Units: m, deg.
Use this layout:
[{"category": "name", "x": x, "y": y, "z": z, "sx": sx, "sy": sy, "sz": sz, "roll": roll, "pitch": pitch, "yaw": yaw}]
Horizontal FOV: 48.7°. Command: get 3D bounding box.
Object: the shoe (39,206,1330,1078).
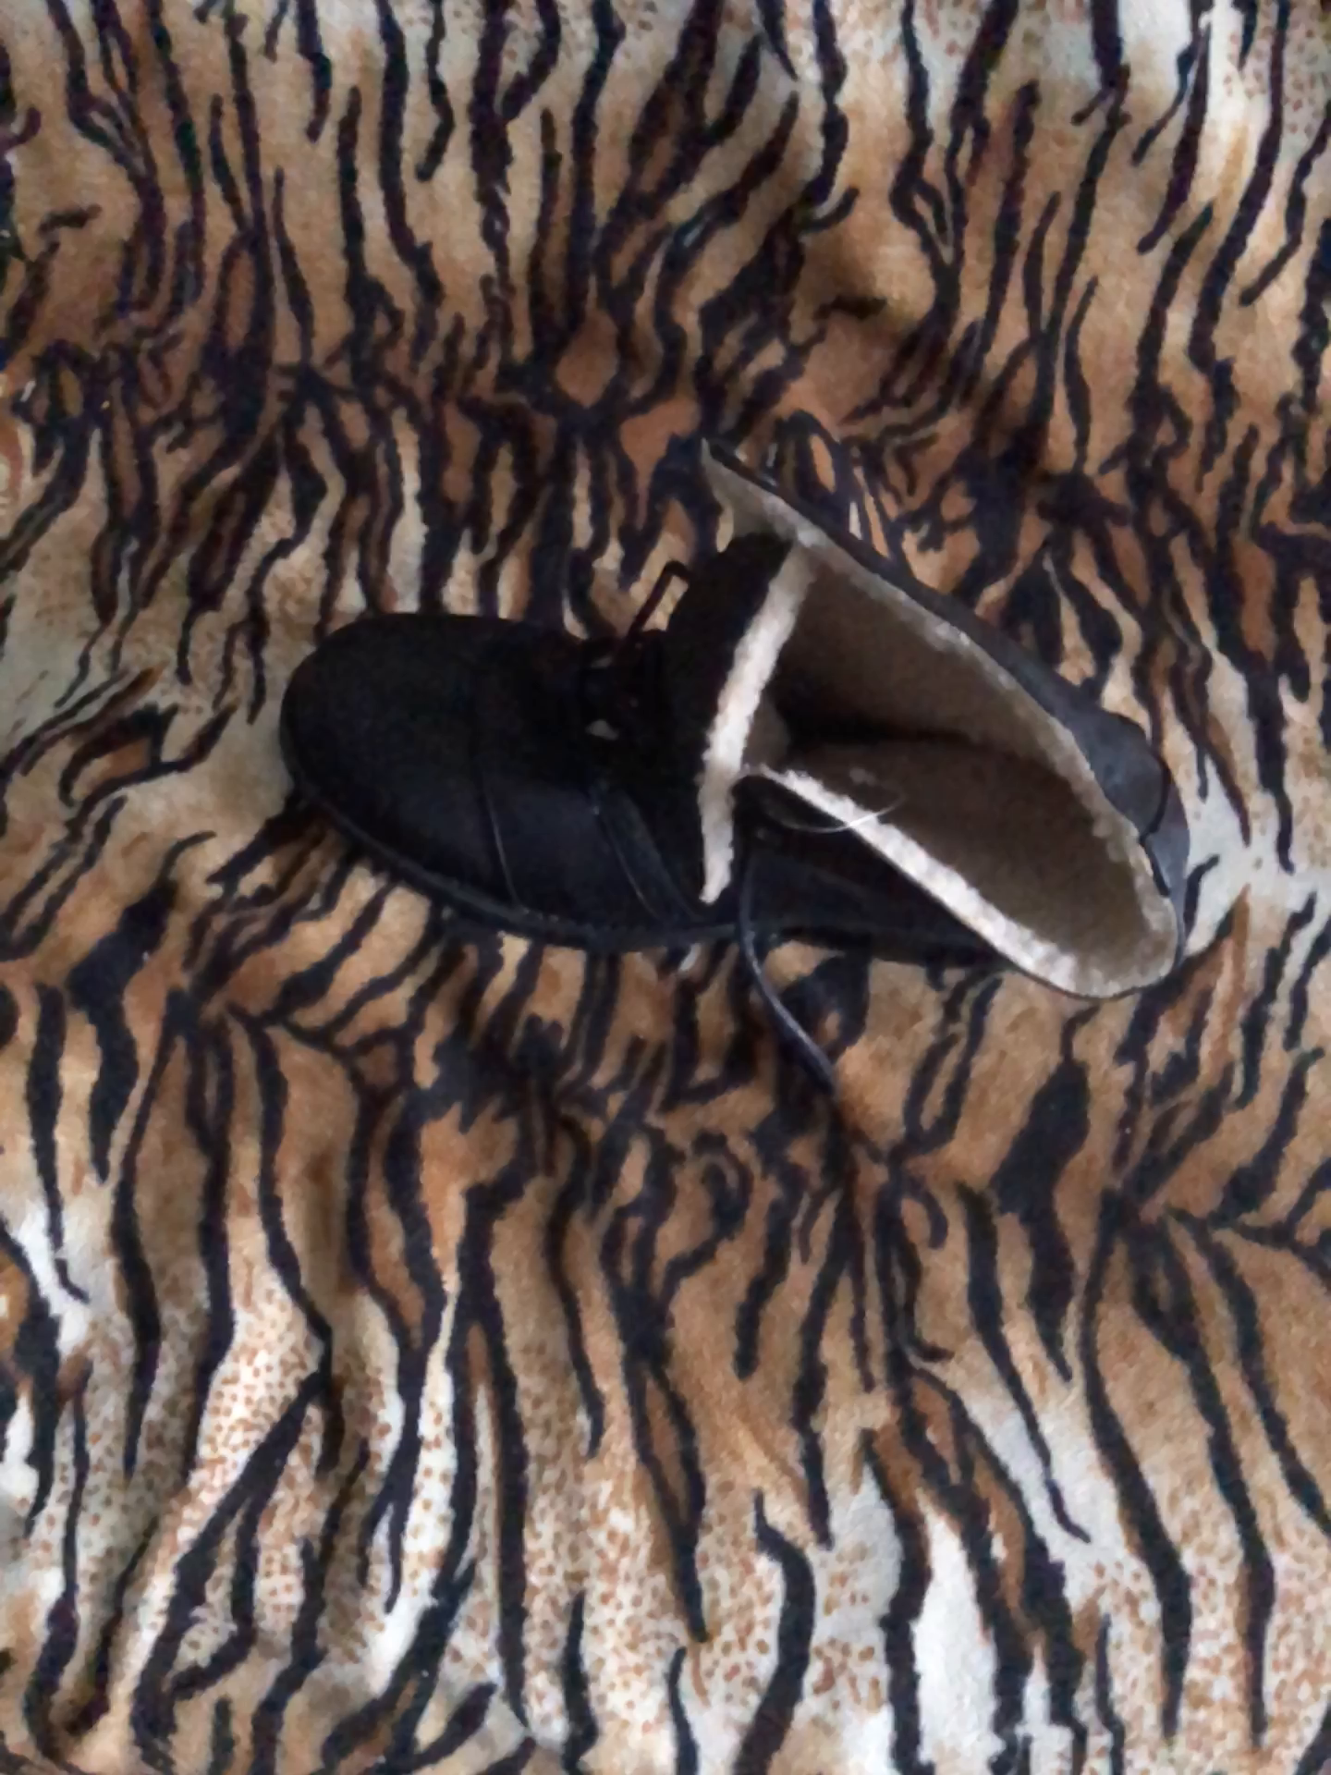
[{"category": "shoe", "x": 0.014, "y": -0.068, "z": 0.488, "sx": 0.330, "sy": 0.200, "sz": 0.140, "roll": 13, "pitch": 68, "yaw": 7}]
